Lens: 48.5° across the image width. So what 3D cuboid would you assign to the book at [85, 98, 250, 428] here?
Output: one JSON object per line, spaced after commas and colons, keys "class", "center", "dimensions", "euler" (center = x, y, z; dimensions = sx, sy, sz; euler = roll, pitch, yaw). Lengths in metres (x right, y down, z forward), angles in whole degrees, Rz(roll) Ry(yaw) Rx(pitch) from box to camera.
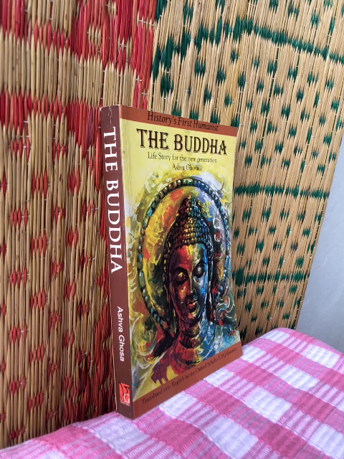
{"class": "book", "center": [0.007, 0.017, 0.302], "dimensions": [0.030, 0.206, 0.146], "euler": [1, 5, 42]}
